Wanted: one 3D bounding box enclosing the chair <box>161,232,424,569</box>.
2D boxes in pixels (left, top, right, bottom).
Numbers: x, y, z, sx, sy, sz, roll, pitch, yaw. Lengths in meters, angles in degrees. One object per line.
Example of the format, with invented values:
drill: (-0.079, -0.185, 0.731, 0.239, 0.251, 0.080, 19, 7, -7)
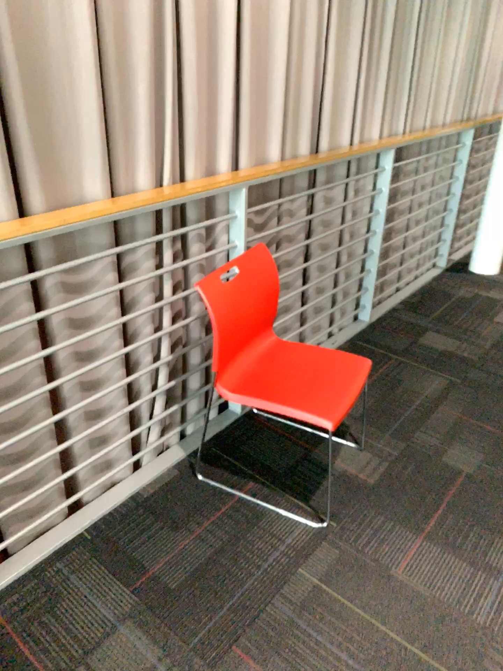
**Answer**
chair: (0.136, 0.187, 1.900, 0.661, 0.855, 0.632, 18, 33, 22)
